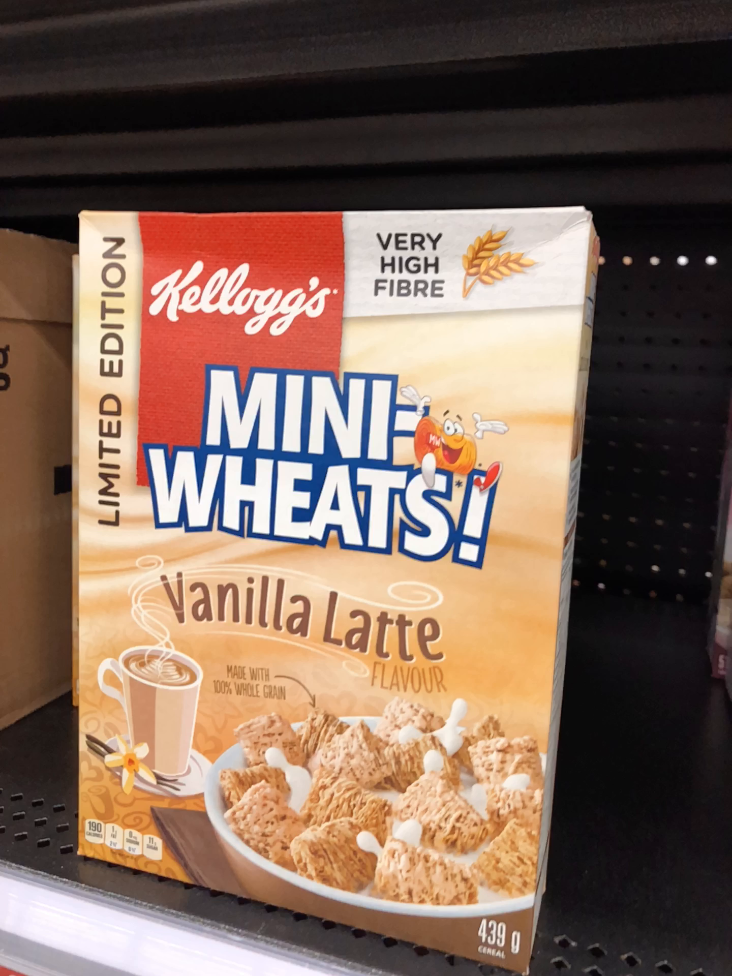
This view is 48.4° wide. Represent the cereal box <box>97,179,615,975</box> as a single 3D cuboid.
[{"bbox_3d":[-0.010,0.031,0.329,0.190,0.279,0.060,5,7,19],"label":"cereal box"}]
